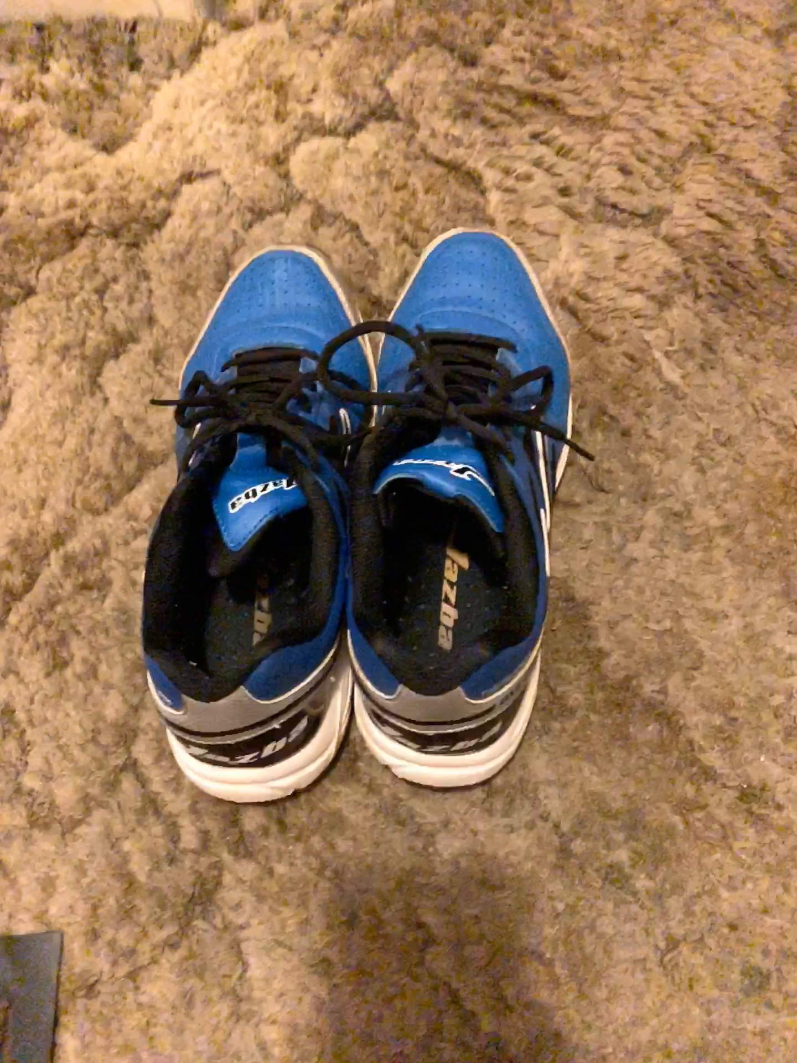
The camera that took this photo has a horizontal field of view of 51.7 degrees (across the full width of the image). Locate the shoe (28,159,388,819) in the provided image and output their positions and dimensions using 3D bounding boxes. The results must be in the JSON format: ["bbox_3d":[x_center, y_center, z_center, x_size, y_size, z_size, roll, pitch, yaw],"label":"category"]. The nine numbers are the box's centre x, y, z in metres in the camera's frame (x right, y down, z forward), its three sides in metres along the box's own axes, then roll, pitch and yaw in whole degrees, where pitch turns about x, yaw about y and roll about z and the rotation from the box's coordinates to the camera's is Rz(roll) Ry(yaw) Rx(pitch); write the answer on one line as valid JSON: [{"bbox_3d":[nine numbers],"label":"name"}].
[{"bbox_3d":[-0.063,-0.018,0.371,0.100,0.119,0.271,0,67,4],"label":"shoe"}]

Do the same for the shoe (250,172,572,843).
[{"bbox_3d":[0.018,-0.013,0.381,0.100,0.119,0.281,4,67,6],"label":"shoe"}]
